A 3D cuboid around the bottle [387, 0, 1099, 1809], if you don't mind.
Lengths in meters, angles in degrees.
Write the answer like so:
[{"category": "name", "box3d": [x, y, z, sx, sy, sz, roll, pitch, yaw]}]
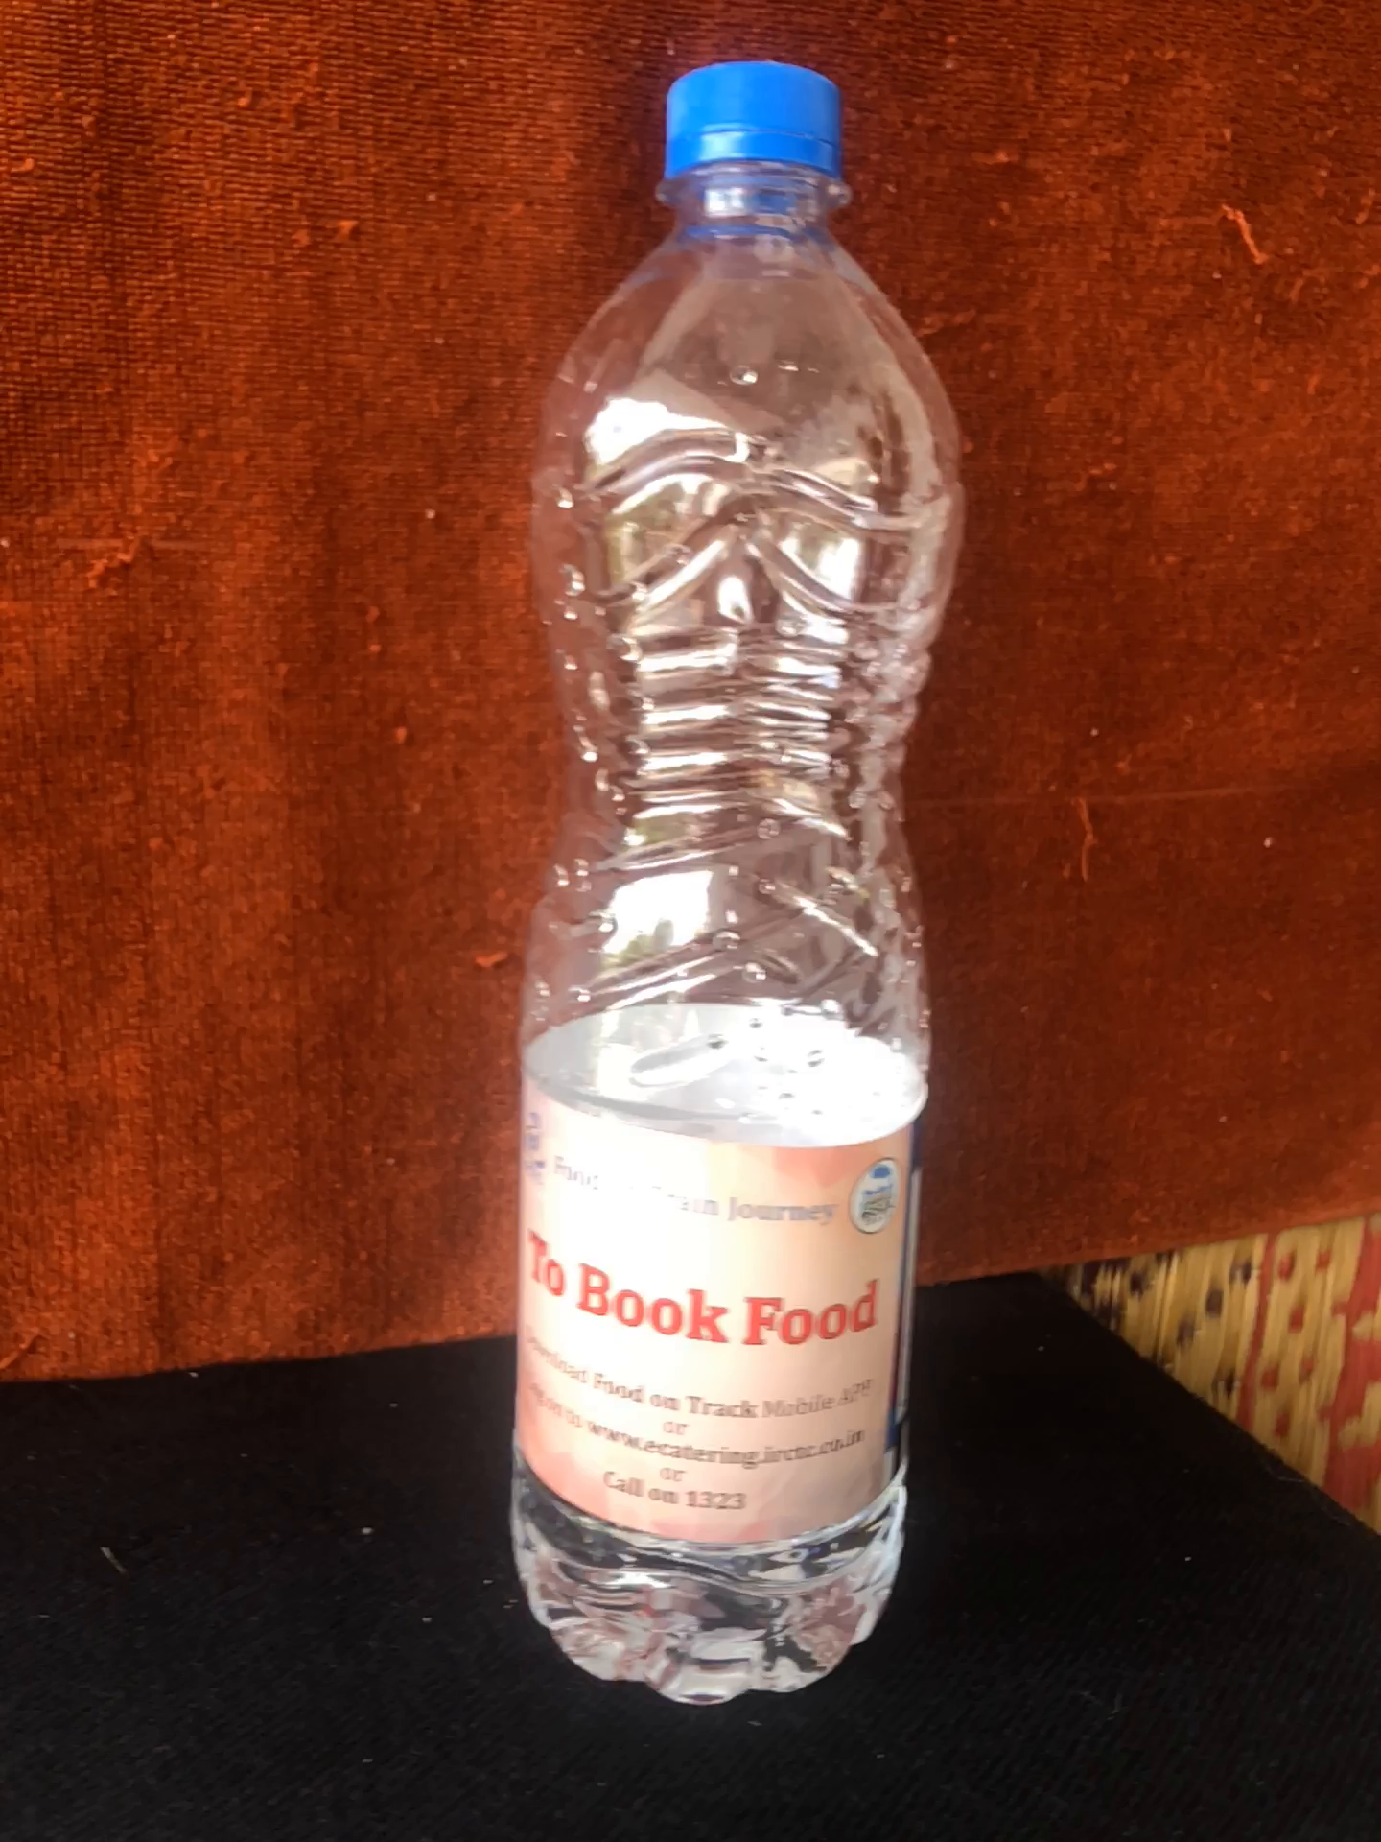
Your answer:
[{"category": "bottle", "box3d": [0.007, -0.001, 0.269, 0.090, 0.279, 0.070, 7, 13, 12]}]
